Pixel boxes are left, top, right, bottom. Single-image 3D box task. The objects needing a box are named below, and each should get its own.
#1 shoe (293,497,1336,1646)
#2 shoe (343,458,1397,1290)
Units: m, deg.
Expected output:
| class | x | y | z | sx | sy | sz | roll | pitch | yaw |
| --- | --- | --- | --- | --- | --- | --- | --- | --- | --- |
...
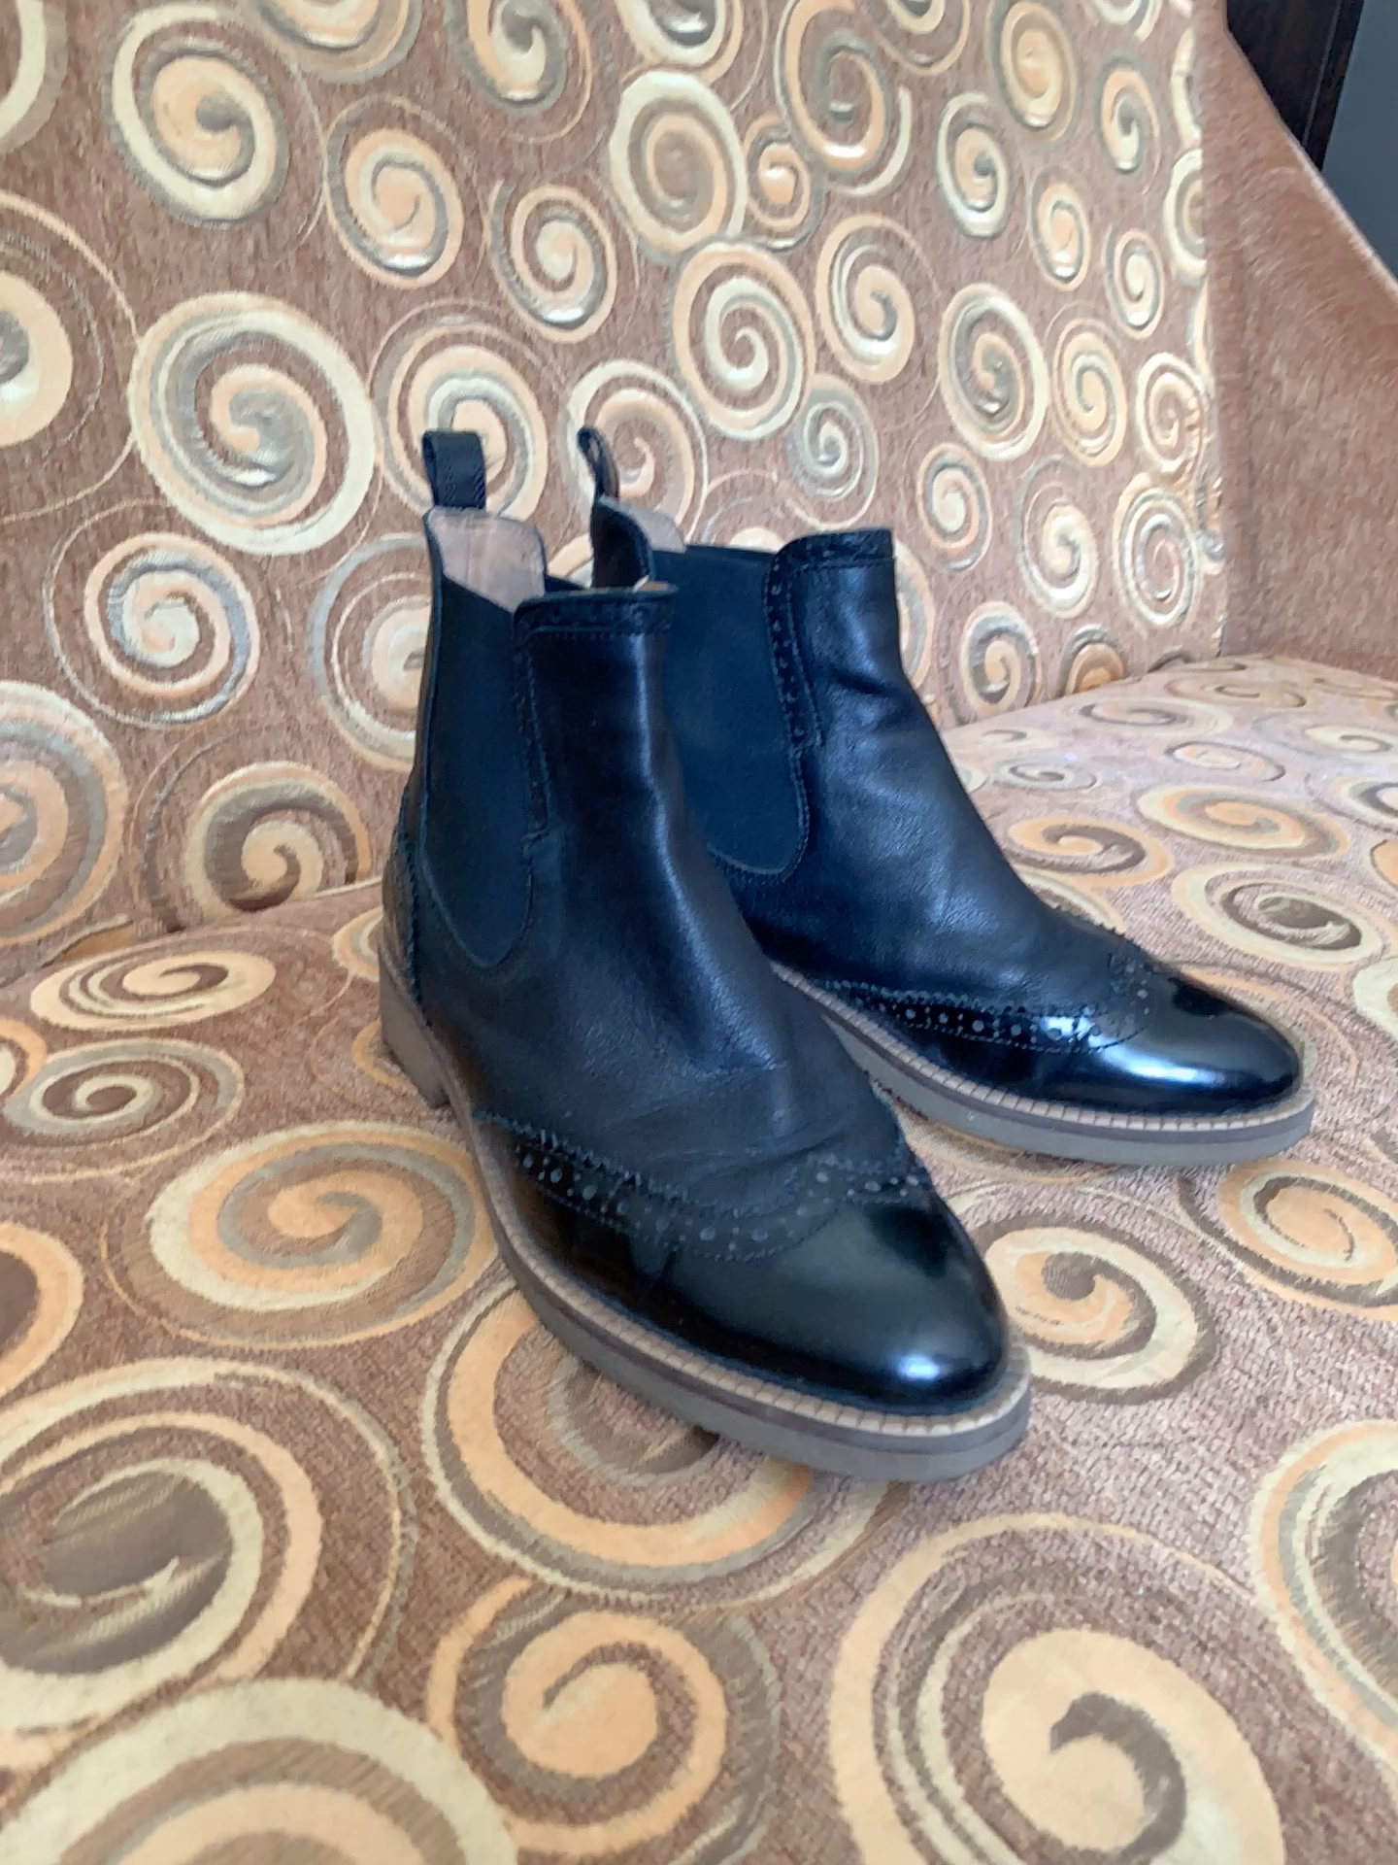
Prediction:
| class | x | y | z | sx | sy | sz | roll | pitch | yaw |
| --- | --- | --- | --- | --- | --- | --- | --- | --- | --- |
| shoe | -0.006 | -0.001 | 0.330 | 0.100 | 0.139 | 0.241 | -11 | 32 | -28 |
| shoe | 0.041 | -0.037 | 0.422 | 0.291 | 0.139 | 0.100 | 20 | 31 | 25 |
